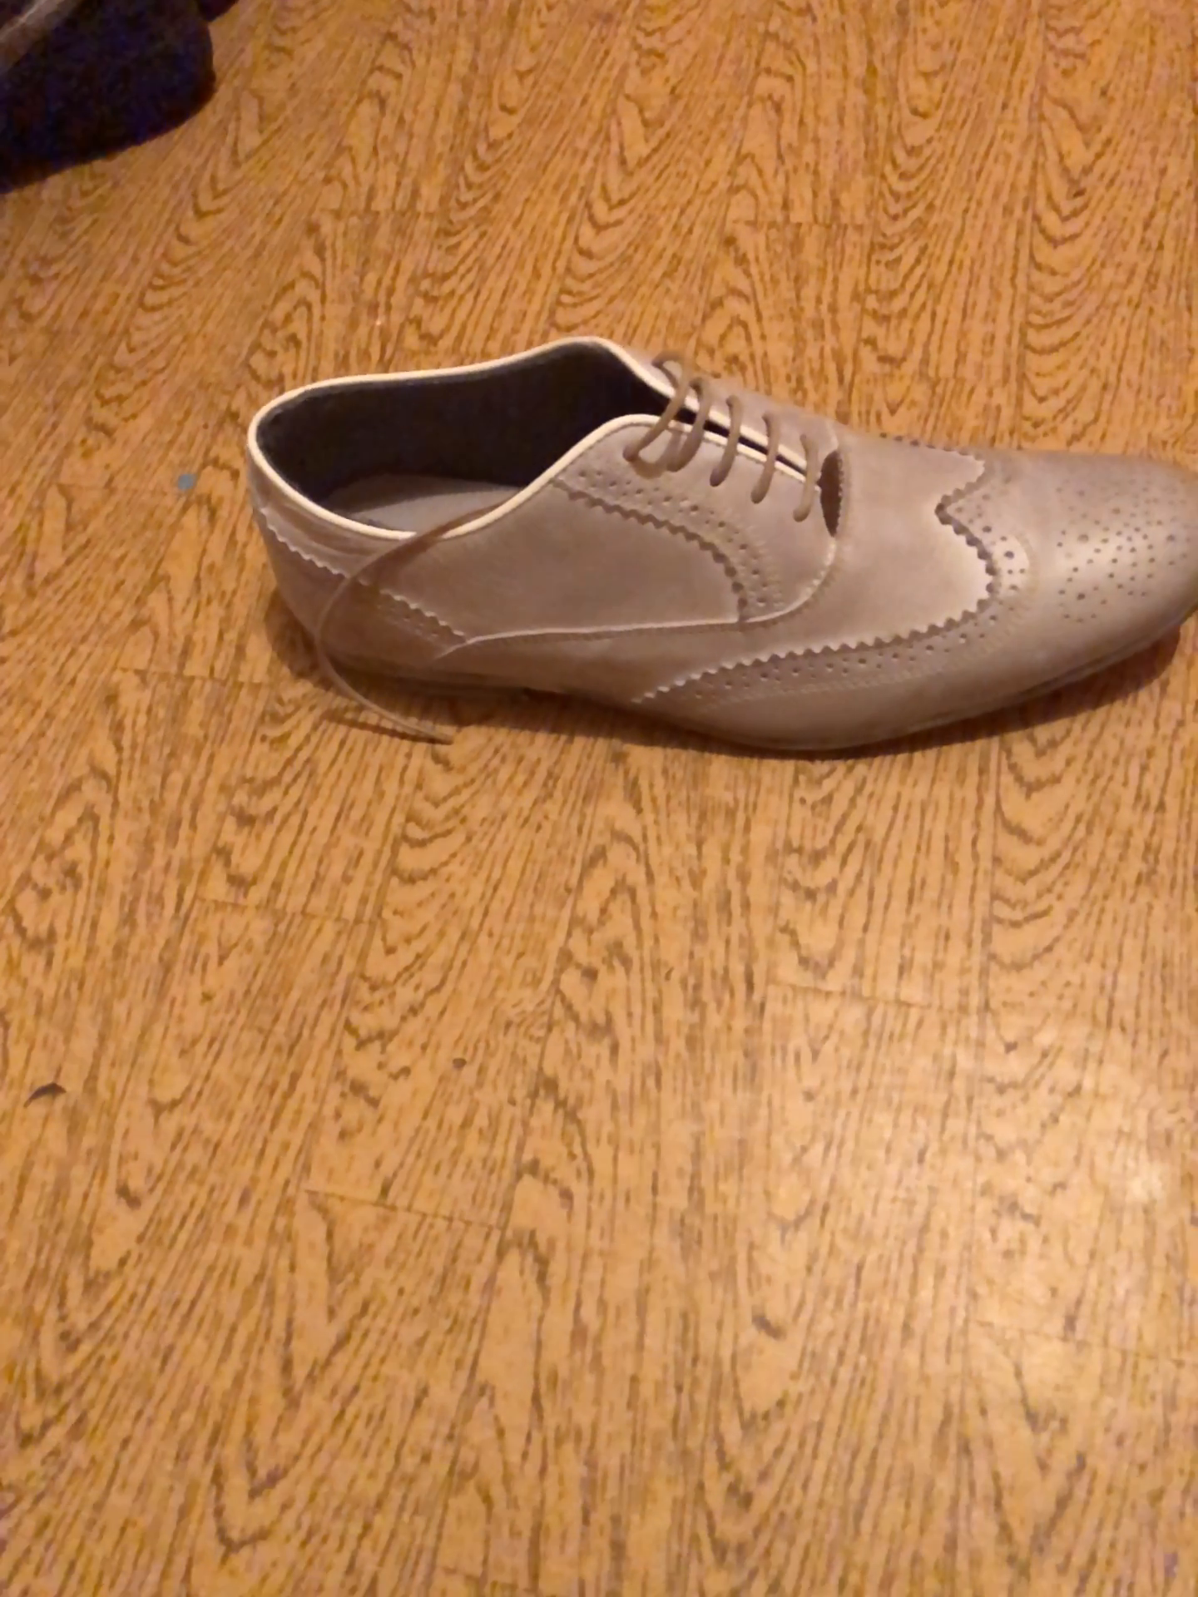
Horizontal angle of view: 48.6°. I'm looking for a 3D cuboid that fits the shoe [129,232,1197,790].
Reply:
[{"bbox_3d":[0.036,-0.087,0.401,0.300,0.110,0.110,4,62,9],"label":"shoe"}]
